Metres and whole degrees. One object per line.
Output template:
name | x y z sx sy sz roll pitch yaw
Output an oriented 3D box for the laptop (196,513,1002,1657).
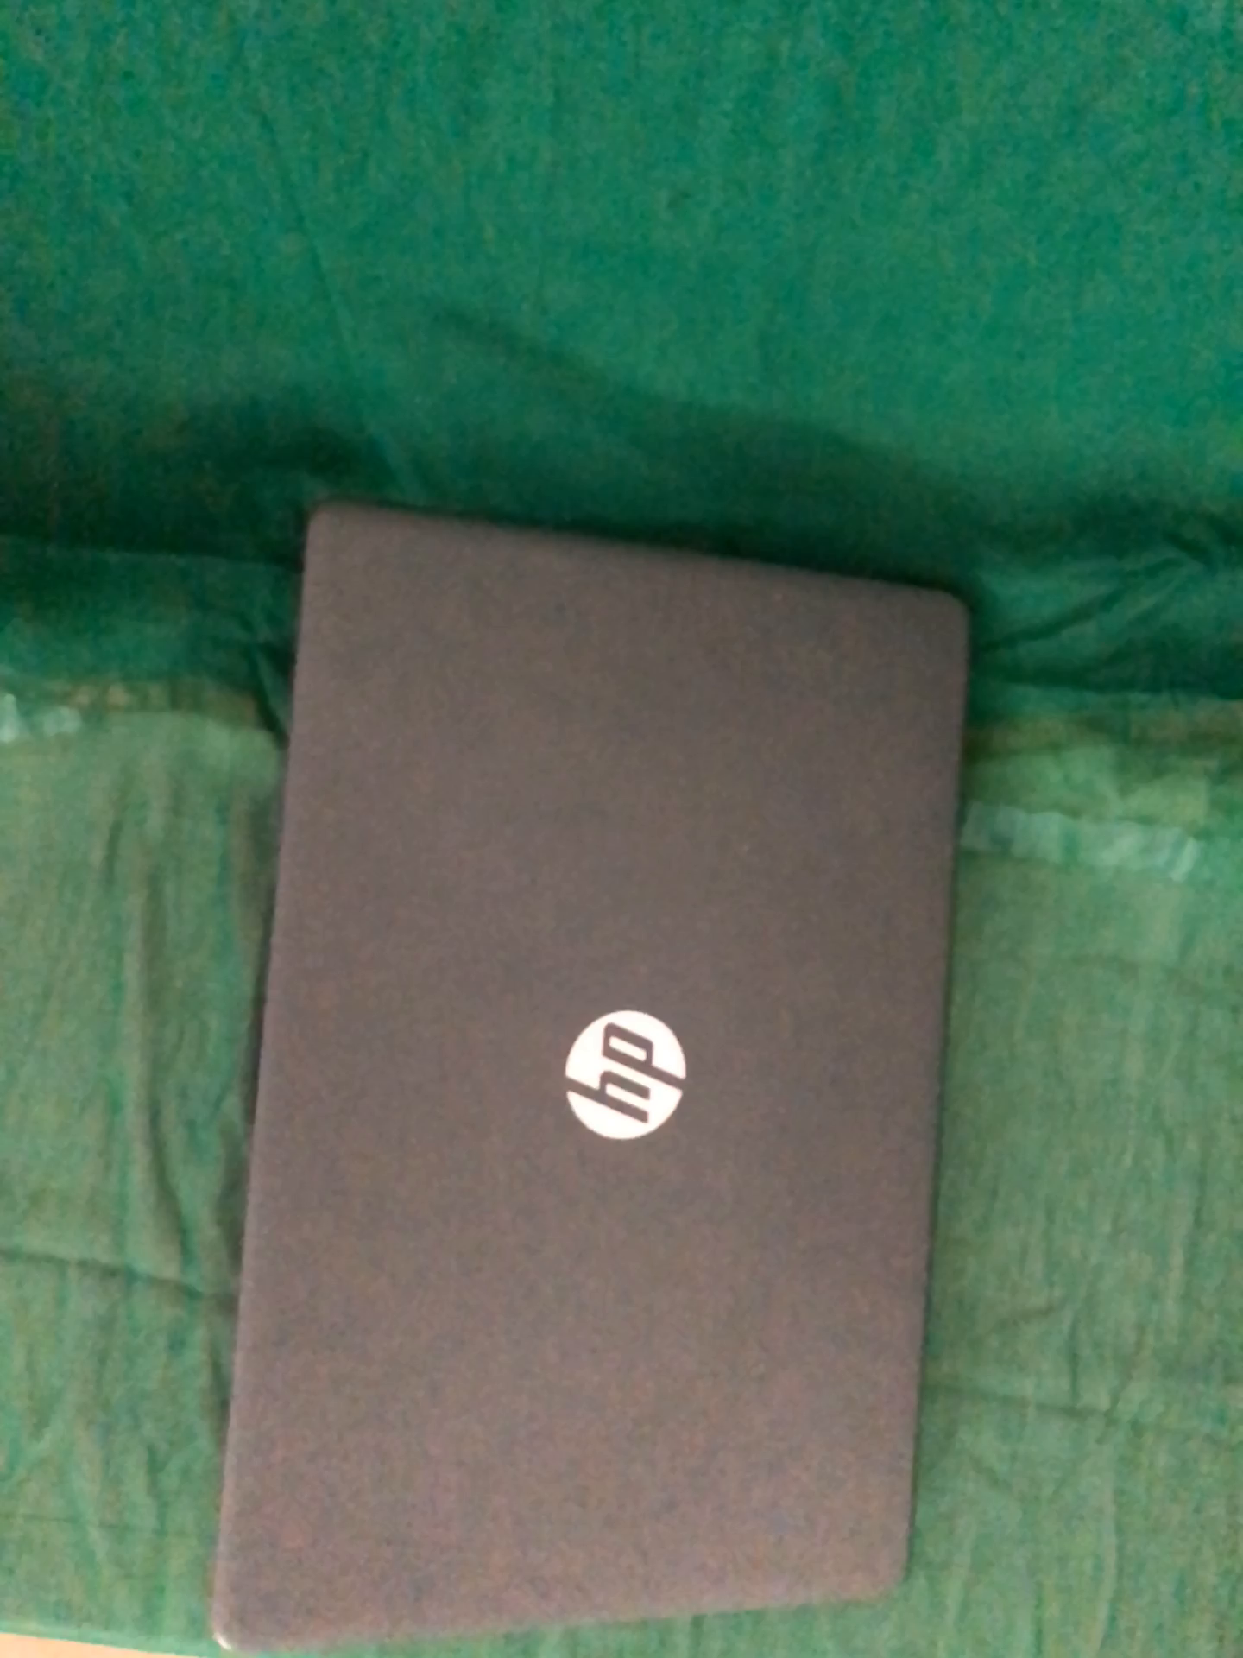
laptop | -0.005 0.087 0.483 0.231 0.067 0.359 5 86 -2
